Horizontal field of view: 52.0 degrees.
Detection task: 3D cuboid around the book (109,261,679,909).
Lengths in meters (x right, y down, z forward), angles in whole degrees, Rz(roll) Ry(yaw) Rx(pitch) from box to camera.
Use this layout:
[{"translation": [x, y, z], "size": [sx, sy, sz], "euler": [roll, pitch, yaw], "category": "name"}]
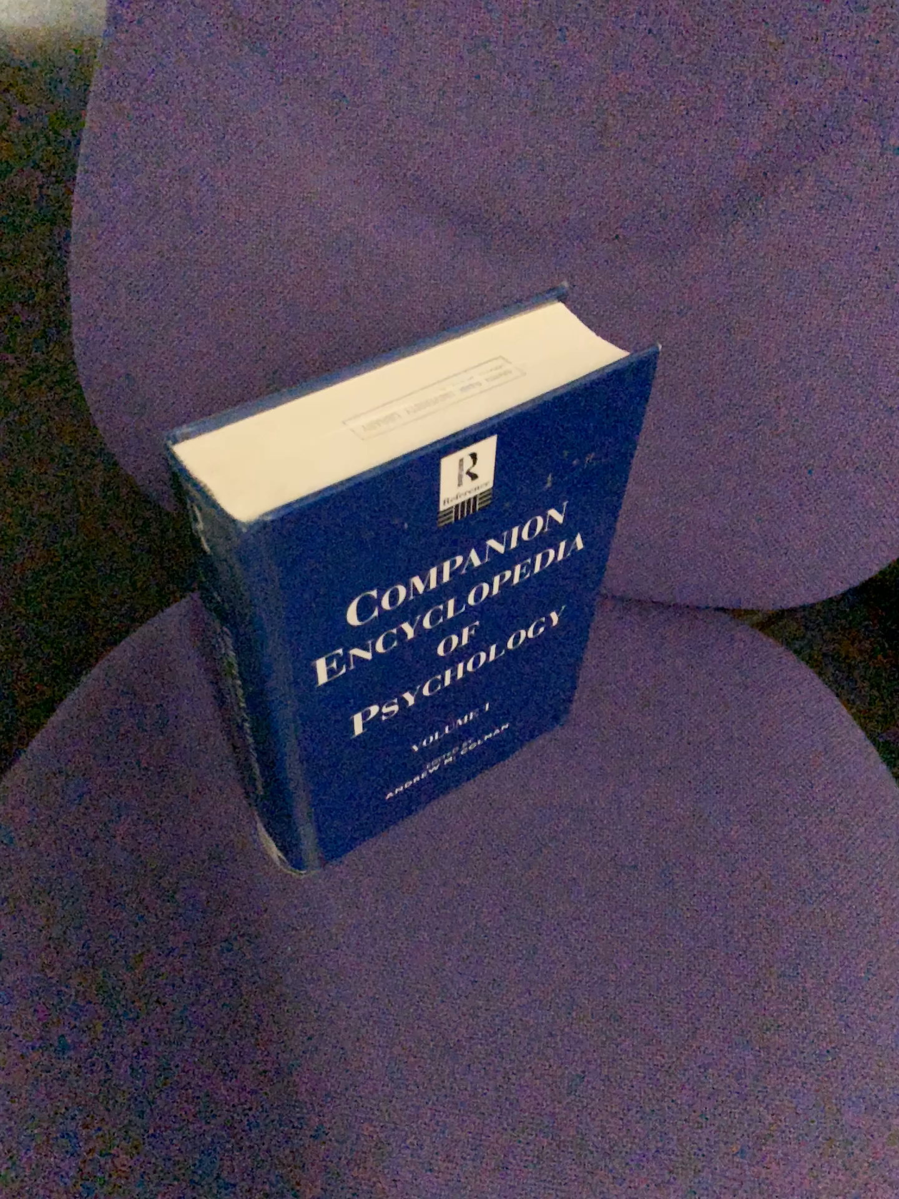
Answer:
[{"translation": [-0.014, 0.014, 0.397], "size": [0.182, 0.264, 0.052], "euler": [-28, 58, -21], "category": "book"}]
